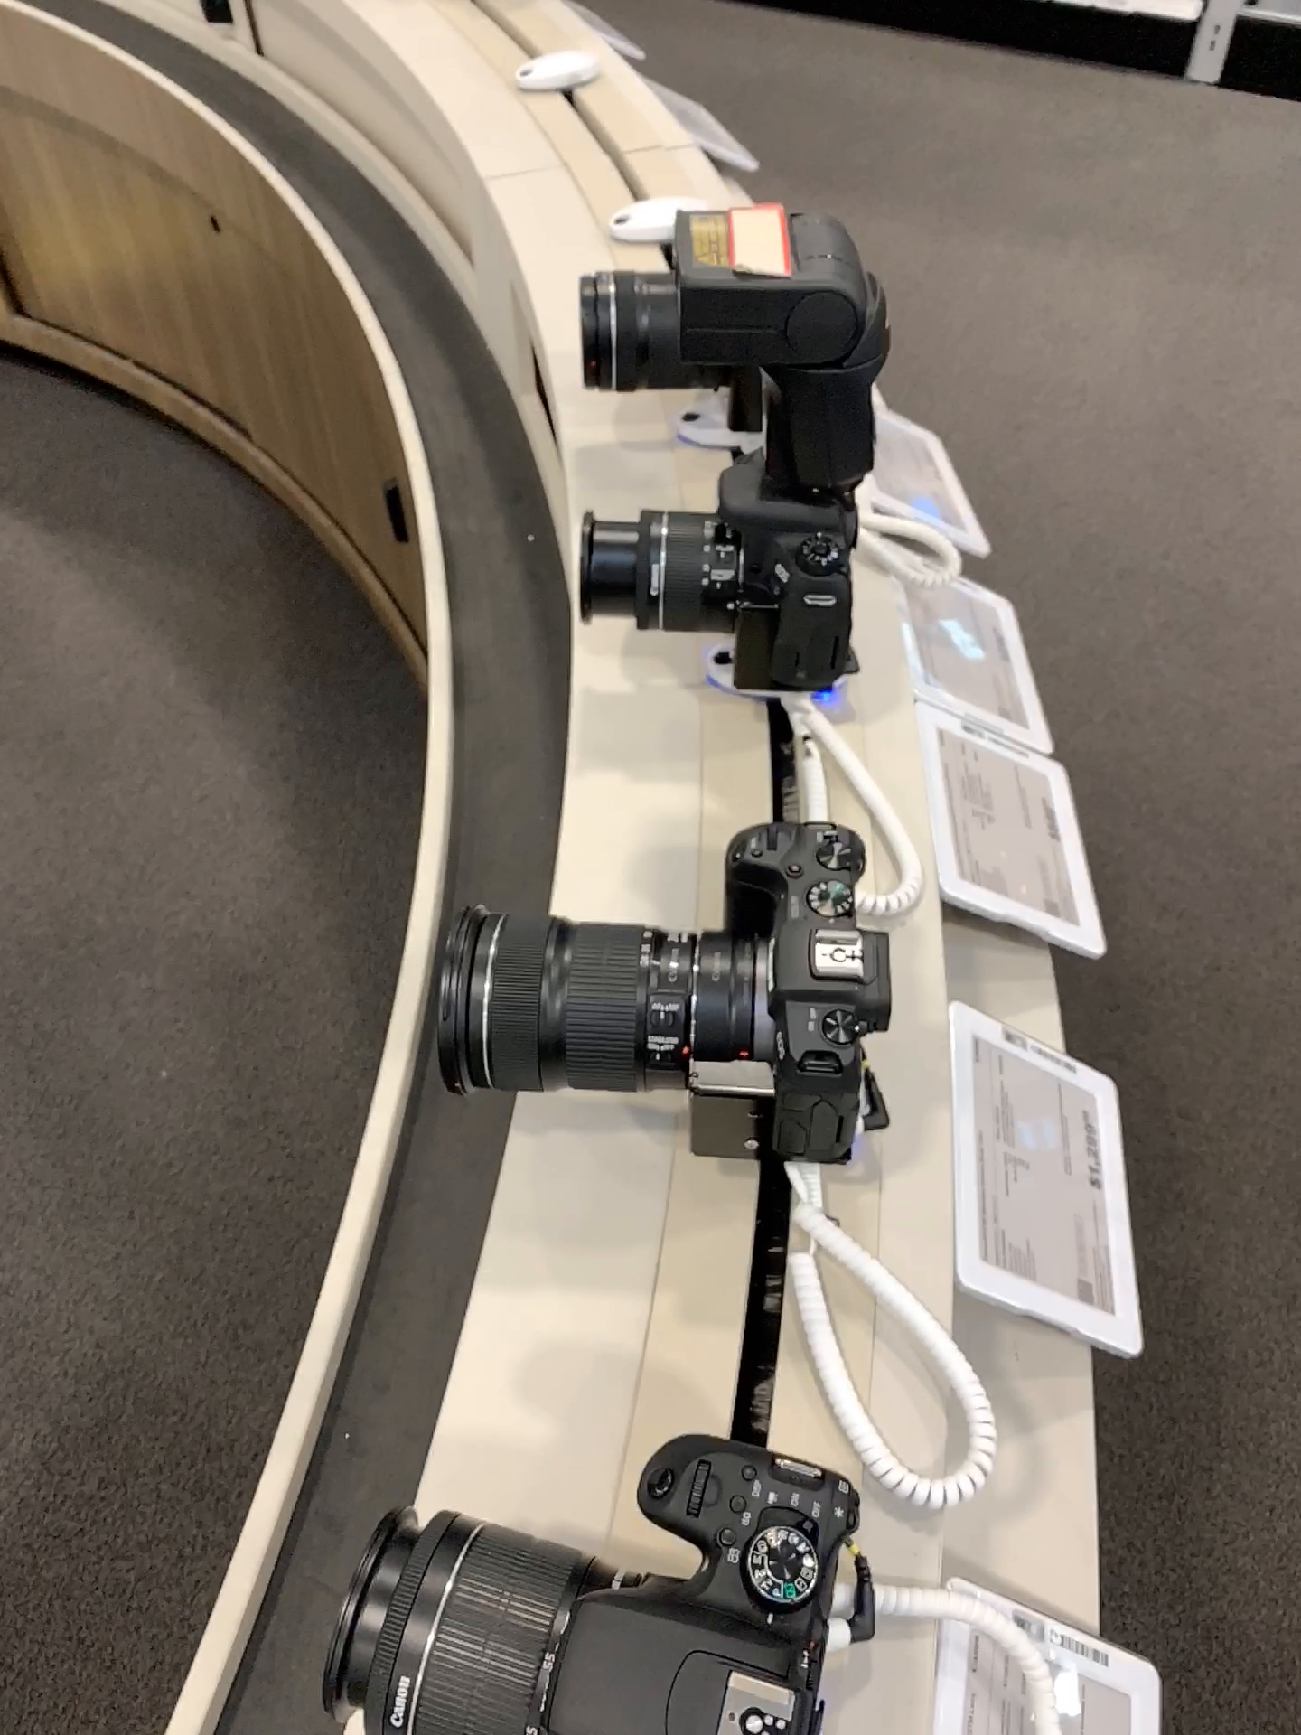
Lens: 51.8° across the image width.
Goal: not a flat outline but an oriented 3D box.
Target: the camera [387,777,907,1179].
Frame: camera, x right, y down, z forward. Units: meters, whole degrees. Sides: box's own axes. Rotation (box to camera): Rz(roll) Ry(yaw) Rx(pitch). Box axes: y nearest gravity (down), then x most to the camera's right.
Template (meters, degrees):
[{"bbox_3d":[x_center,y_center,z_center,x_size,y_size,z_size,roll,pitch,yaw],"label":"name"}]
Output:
[{"bbox_3d":[0.003,0.048,0.596,0.200,0.100,0.141,2,53,3],"label":"camera"}]

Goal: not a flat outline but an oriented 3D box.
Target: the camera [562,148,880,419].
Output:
[{"bbox_3d":[0.041,-0.388,0.888,0.190,0.100,0.141,-3,52,-1],"label":"camera"}]

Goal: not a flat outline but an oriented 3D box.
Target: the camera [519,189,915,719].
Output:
[{"bbox_3d":[0.034,-0.211,0.707,0.170,0.219,0.151,1,53,3],"label":"camera"}]

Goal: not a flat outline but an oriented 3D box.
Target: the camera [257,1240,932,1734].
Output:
[{"bbox_3d":[-0.008,0.237,0.450,0.170,0.120,0.150,10,53,9],"label":"camera"}]
